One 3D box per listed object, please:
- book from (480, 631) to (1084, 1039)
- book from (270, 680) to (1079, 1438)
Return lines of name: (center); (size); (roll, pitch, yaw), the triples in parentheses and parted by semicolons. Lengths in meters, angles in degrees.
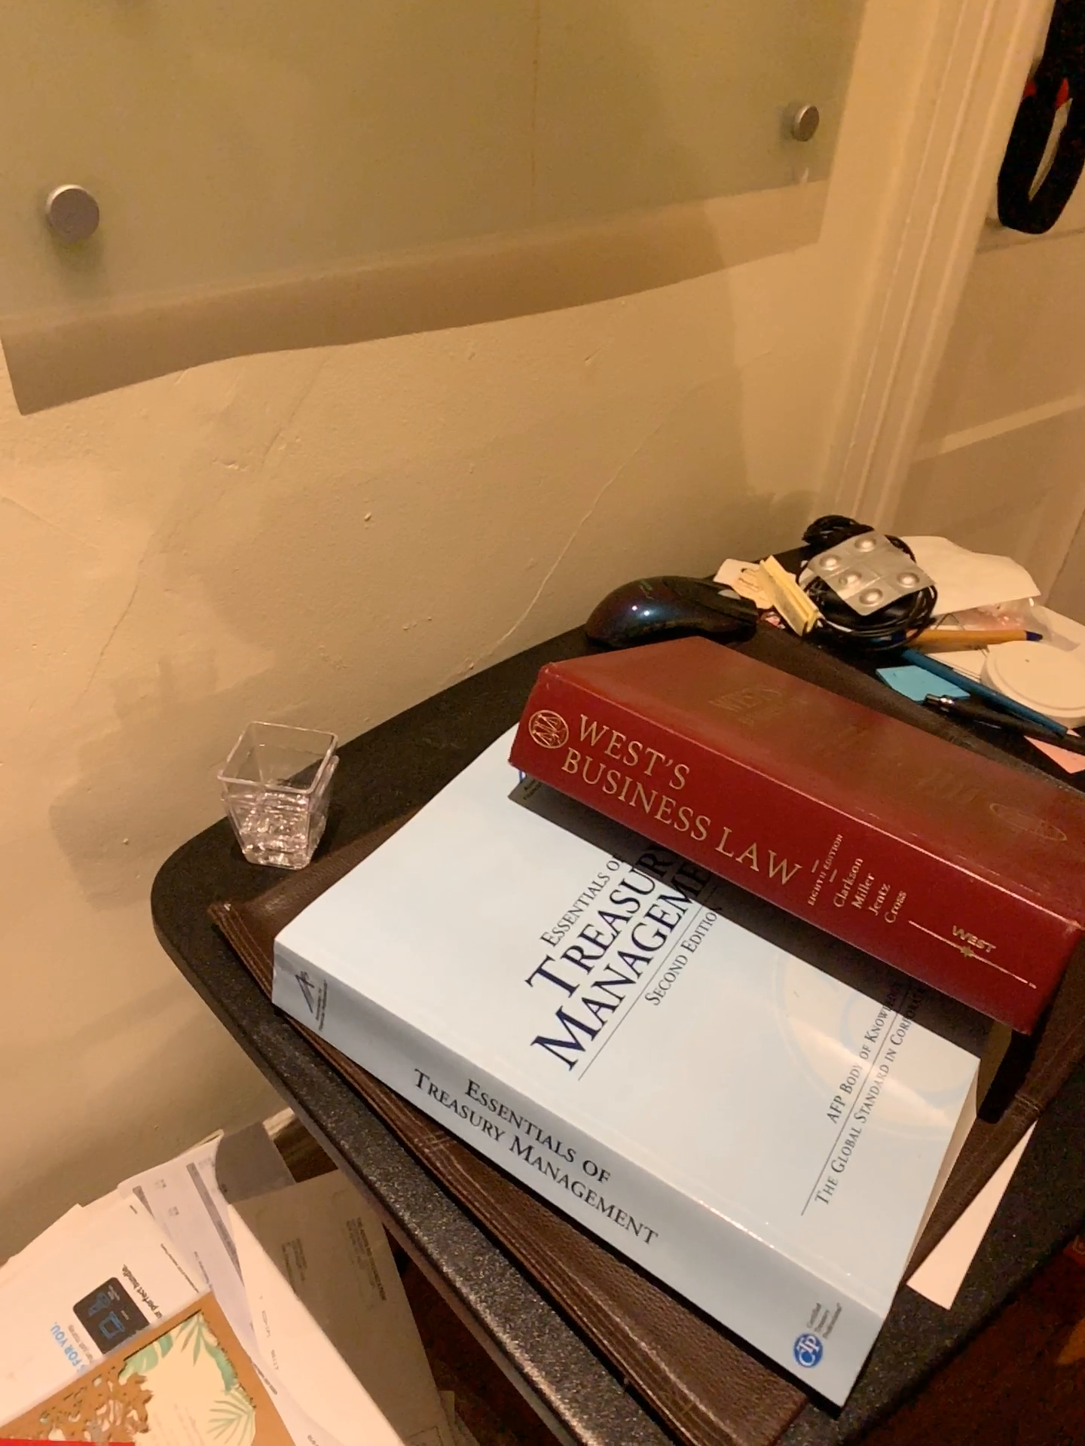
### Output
book: (0.139, 0.031, 0.563); (0.271, 0.050, 0.210); (26, 18, 24)
book: (0.060, 0.112, 0.493); (0.271, 0.070, 0.221); (26, 43, 25)
